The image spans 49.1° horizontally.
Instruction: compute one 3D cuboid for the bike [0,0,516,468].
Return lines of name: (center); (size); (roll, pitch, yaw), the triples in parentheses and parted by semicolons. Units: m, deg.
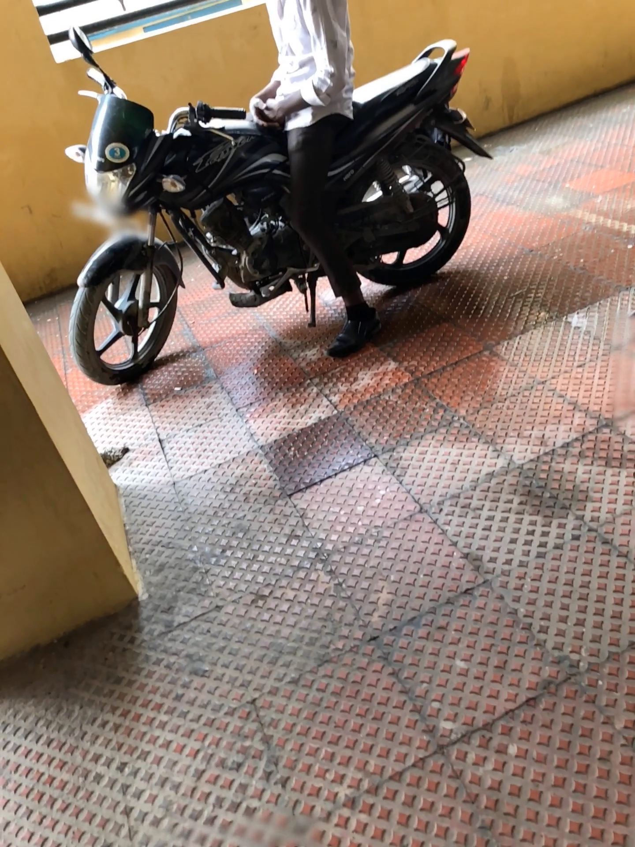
bike: (-0.222, -0.887, 2.809); (1.878, 1.185, 0.813); (-23, 34, -11)
